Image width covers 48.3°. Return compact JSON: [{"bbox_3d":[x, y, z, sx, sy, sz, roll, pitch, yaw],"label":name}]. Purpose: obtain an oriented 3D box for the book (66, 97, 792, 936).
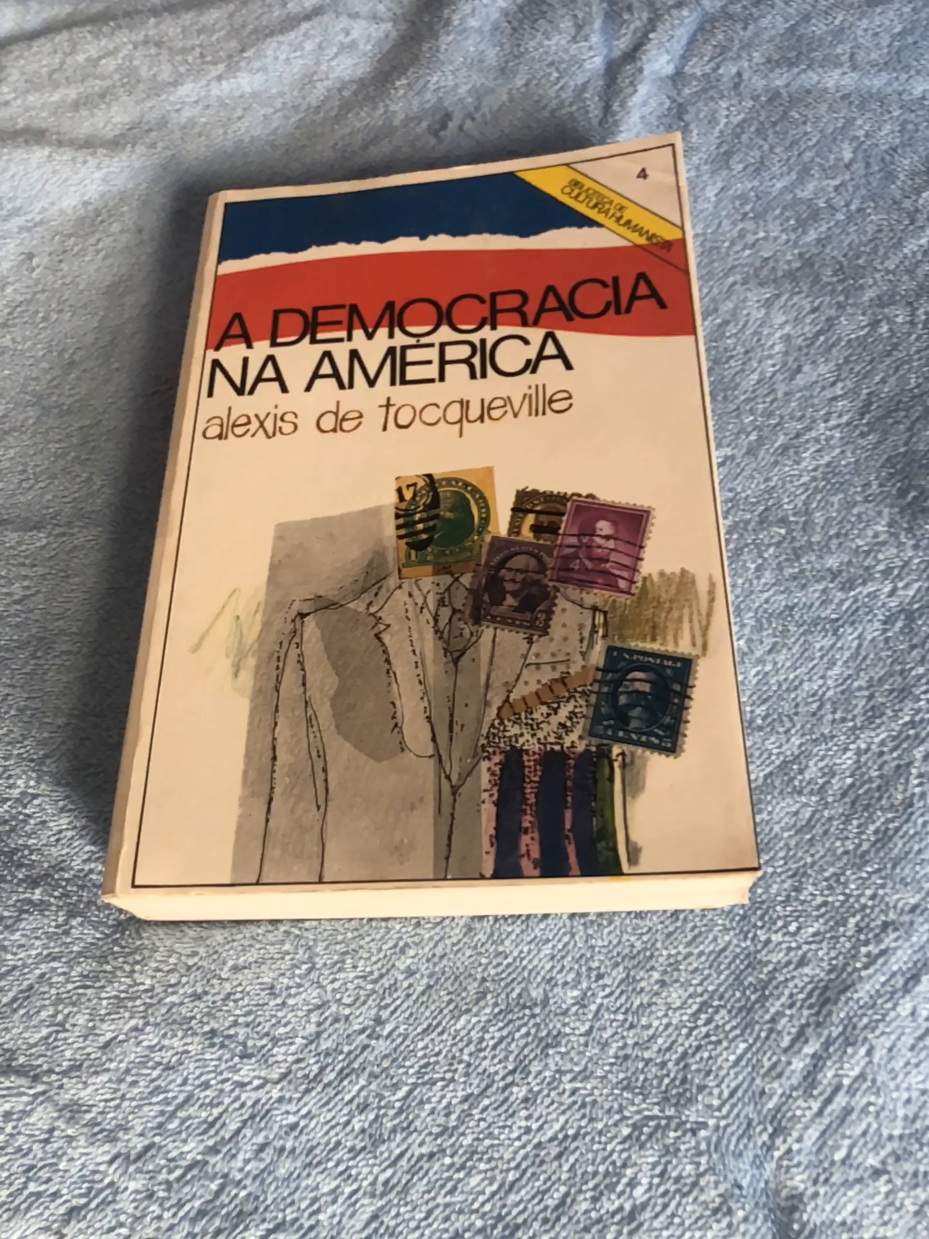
[{"bbox_3d":[-0.007,-0.028,0.258,0.140,0.050,0.201,-2,68,6],"label":"book"}]
